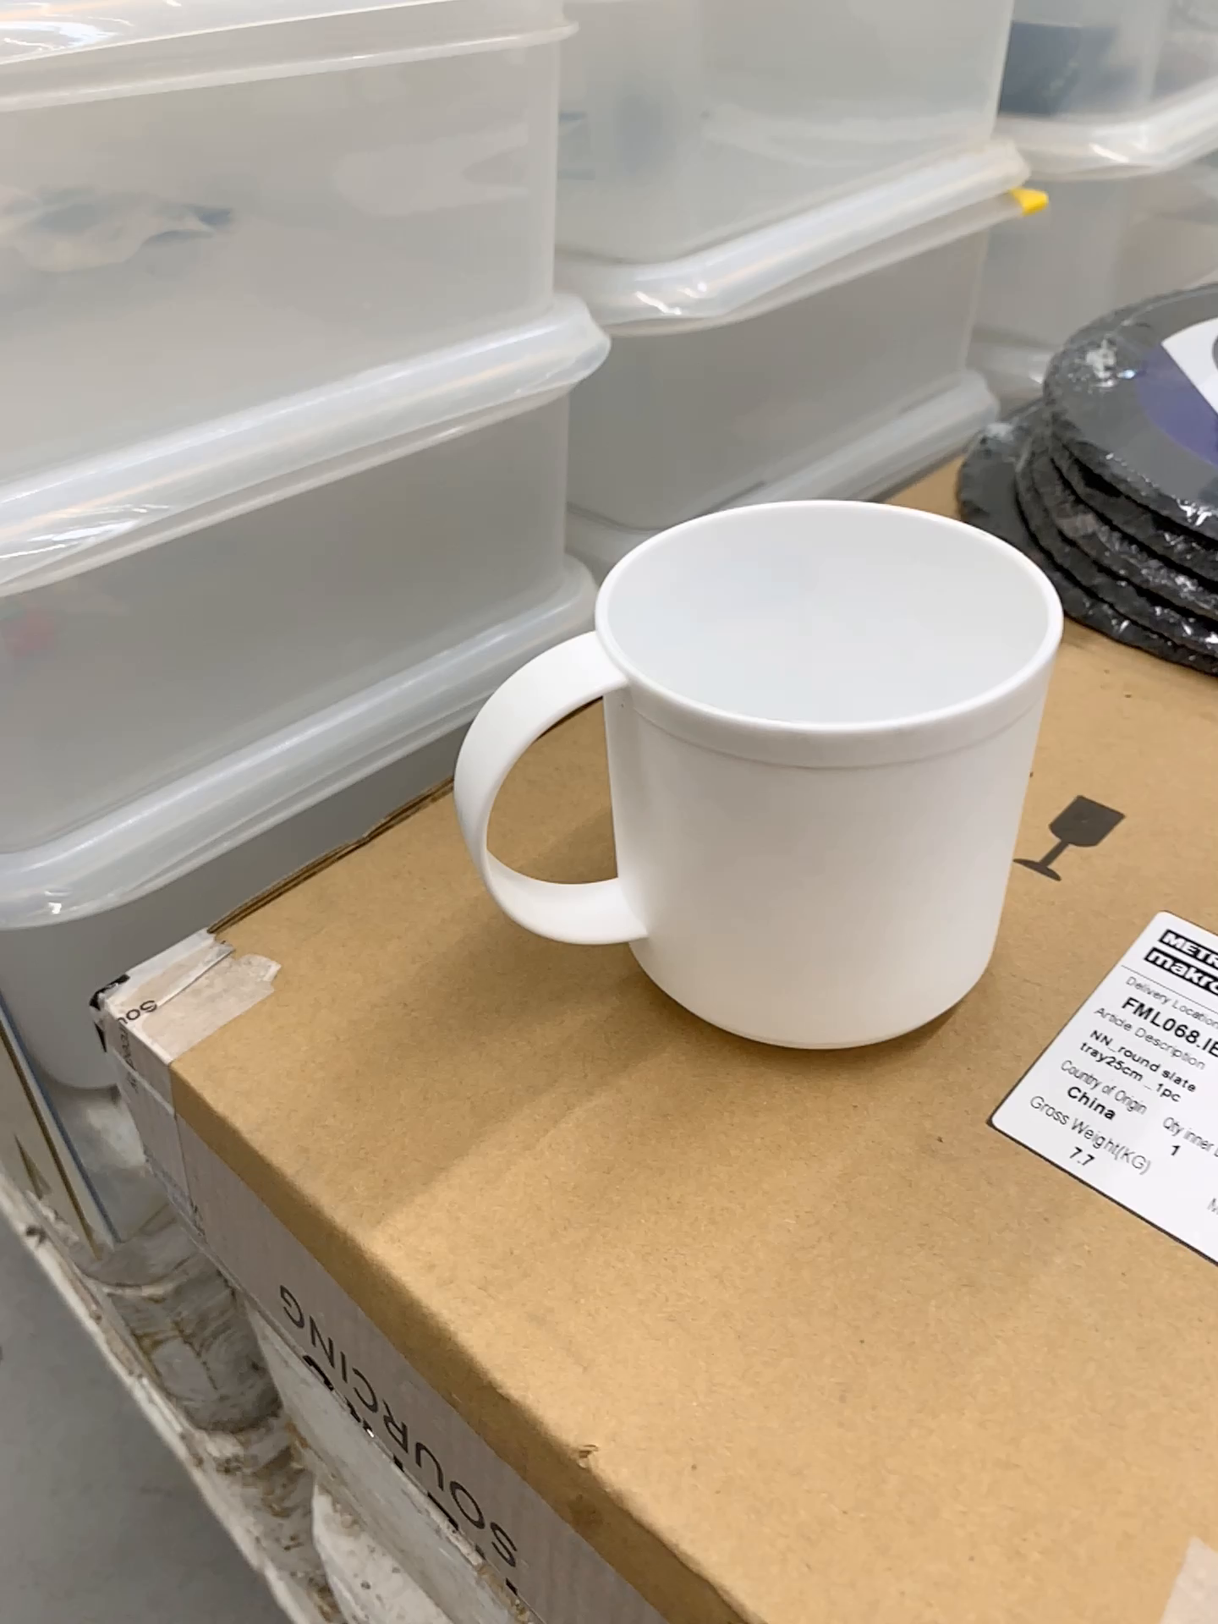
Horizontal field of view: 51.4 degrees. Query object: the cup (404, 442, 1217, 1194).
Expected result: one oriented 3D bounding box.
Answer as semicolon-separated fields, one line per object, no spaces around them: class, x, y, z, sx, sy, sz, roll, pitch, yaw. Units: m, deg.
cup;0.033;-0.005;0.224;0.113;0.075;0.080;-15;39;-15
